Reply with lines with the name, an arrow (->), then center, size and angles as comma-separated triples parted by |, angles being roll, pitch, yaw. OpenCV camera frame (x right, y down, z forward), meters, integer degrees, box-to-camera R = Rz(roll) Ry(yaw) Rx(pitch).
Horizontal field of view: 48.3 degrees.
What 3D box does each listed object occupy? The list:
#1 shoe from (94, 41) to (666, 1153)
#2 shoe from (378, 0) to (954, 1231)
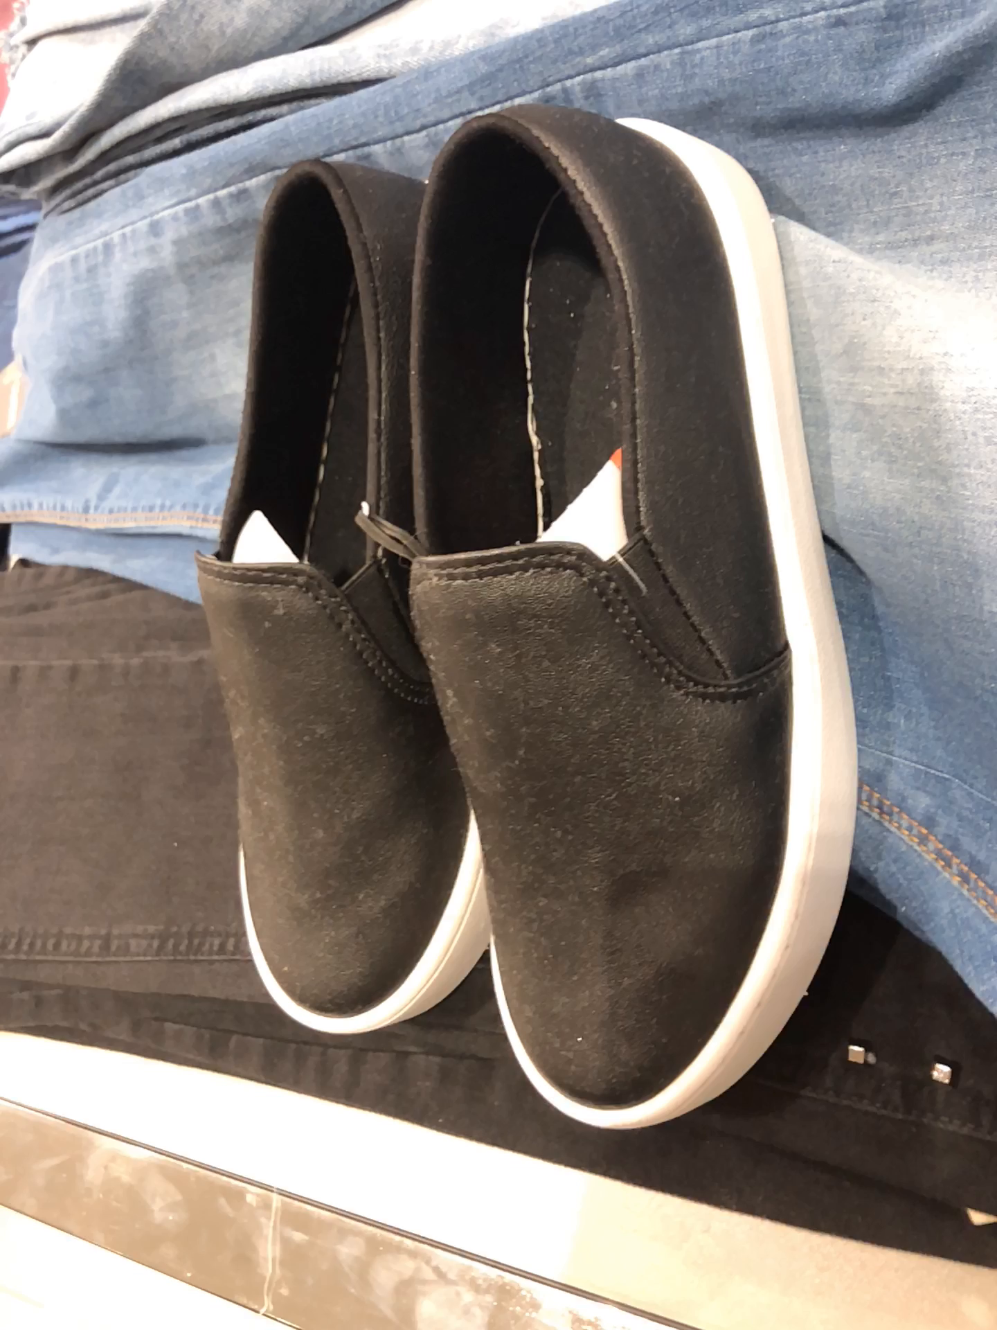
shoe -> -0.034, -0.018, 0.332 | 0.110, 0.100, 0.260 | 7, 93, 34
shoe -> 0.046, -0.020, 0.287 | 0.110, 0.100, 0.260 | -2, 88, 33
